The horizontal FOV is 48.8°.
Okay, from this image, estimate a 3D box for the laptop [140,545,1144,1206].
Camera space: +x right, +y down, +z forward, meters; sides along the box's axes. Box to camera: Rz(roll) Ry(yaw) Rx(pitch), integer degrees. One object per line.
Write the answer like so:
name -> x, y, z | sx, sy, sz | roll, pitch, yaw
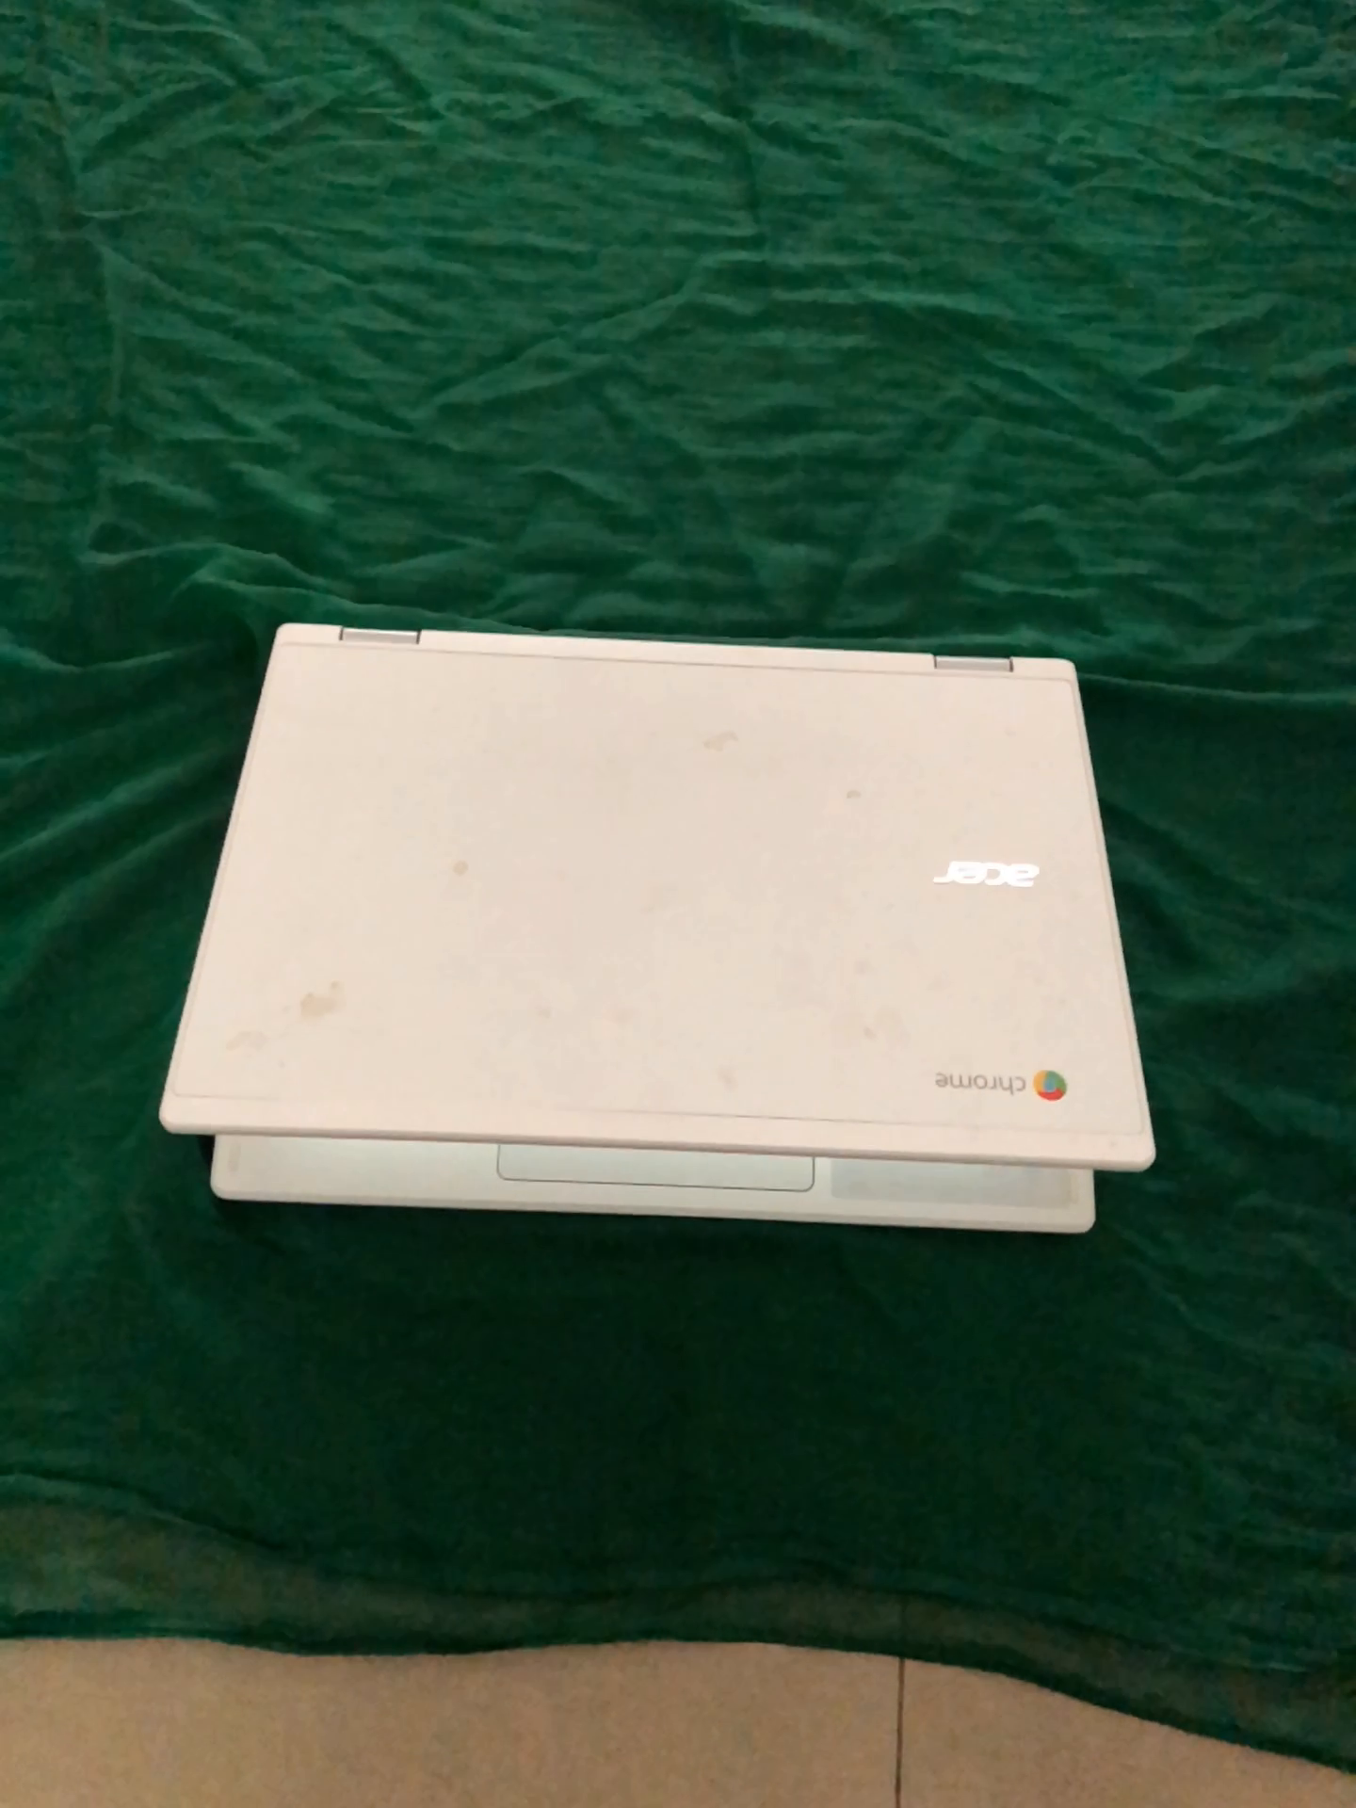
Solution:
laptop -> -0.006, -0.009, 0.479 | 0.281, 0.065, 0.193 | 2, 72, 0
